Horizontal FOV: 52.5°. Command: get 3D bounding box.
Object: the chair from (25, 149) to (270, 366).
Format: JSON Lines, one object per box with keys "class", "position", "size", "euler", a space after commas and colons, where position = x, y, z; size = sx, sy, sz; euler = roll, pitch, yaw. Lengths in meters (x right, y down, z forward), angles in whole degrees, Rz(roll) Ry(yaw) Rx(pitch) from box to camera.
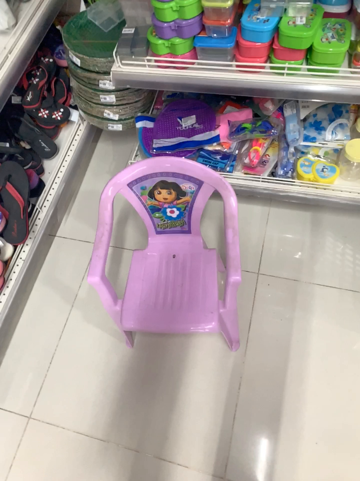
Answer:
{"class": "chair", "position": [-0.025, 0.074, 0.848], "size": [0.400, 0.429, 0.340], "euler": [-1, 63, 8]}
